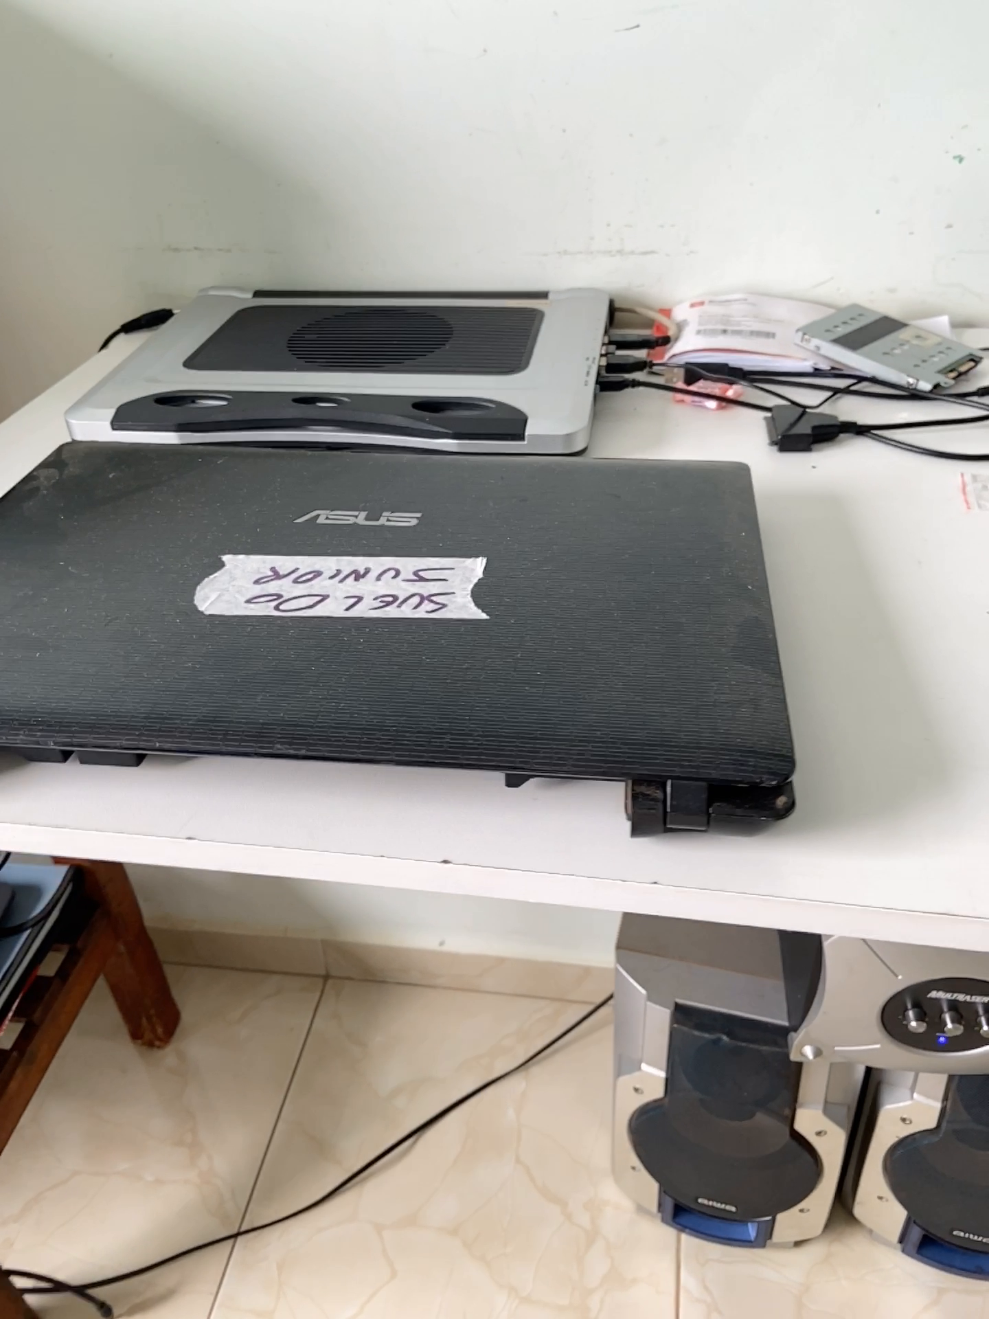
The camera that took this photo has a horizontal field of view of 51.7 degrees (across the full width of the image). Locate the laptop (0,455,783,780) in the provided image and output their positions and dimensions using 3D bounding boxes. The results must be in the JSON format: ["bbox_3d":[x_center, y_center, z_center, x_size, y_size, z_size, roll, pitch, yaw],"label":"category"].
[{"bbox_3d":[-0.072,-0.037,0.438,0.362,0.001,0.238,2,36,8],"label":"laptop"}]
